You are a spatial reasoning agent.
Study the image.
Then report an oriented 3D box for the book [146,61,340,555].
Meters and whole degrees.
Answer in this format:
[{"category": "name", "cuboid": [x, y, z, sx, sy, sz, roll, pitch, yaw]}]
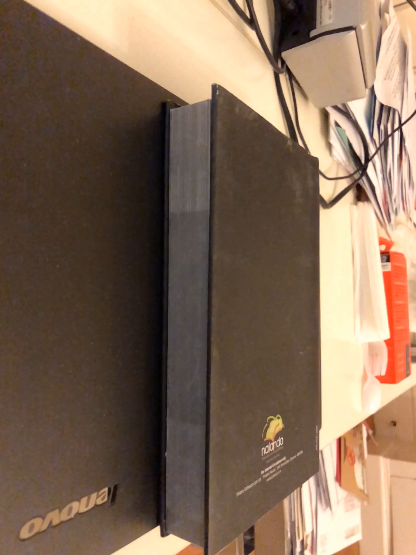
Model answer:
[{"category": "book", "cuboid": [0.030, 0.020, 0.277, 0.151, 0.040, 0.230, 6, 82, -56]}]
